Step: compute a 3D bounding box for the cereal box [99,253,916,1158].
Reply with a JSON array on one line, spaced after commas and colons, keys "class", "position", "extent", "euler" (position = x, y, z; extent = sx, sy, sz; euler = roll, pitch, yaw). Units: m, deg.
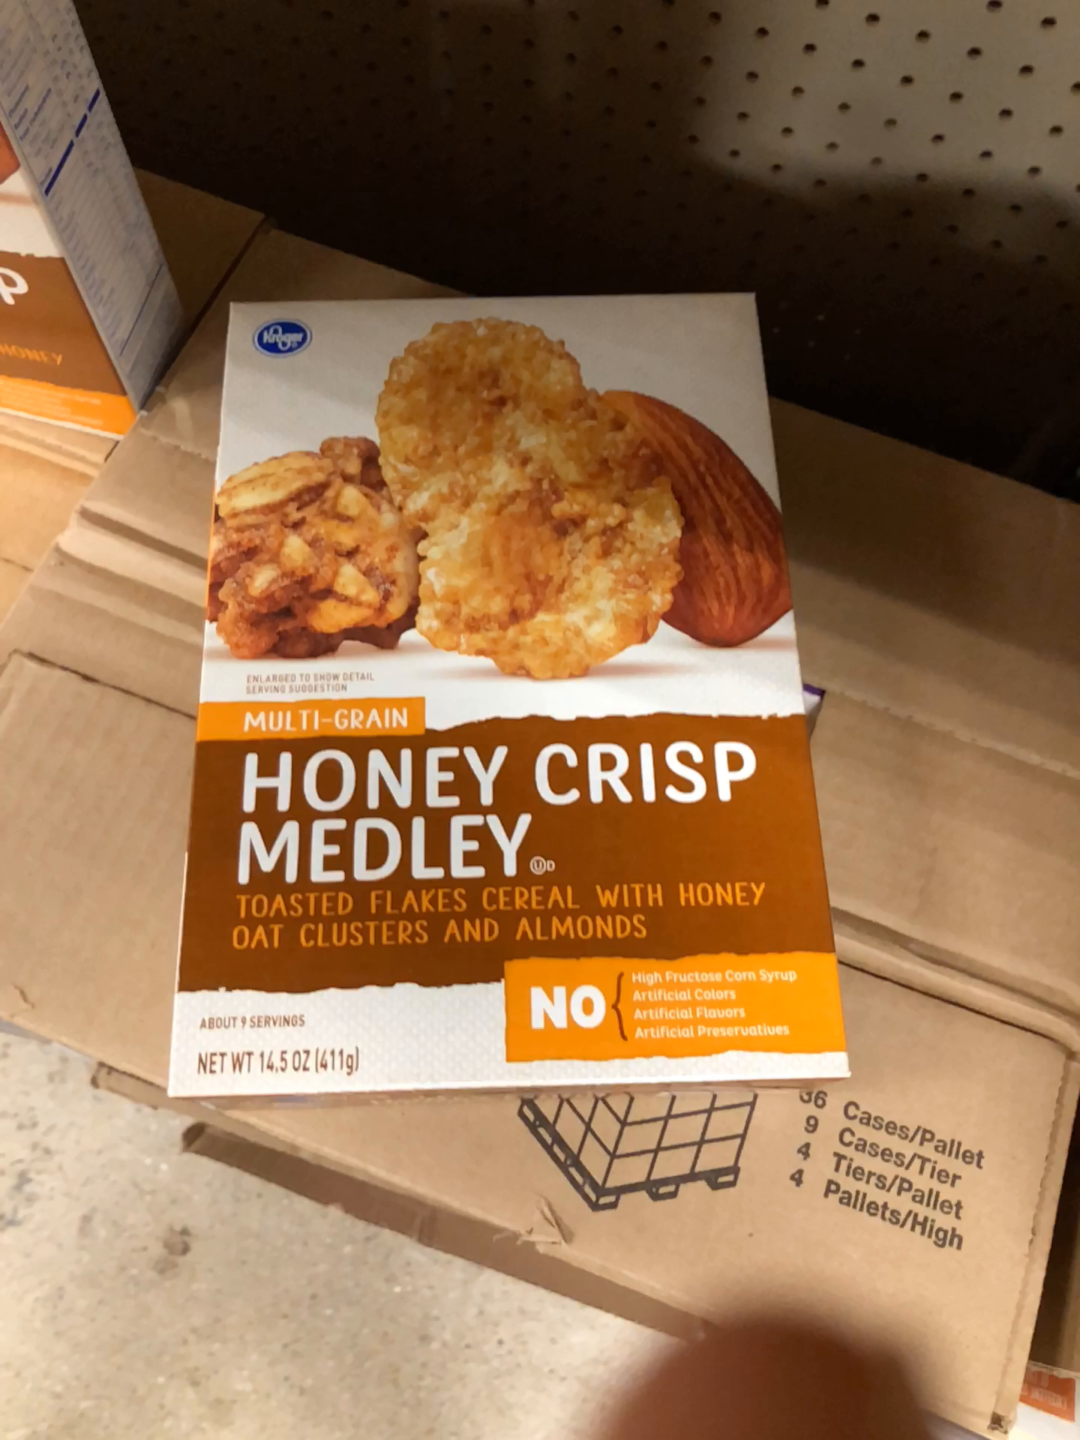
[{"class": "cereal box", "position": [-0.013, -0.013, 0.369], "extent": [0.200, 0.060, 0.270], "euler": [-2, 69, -2]}]
